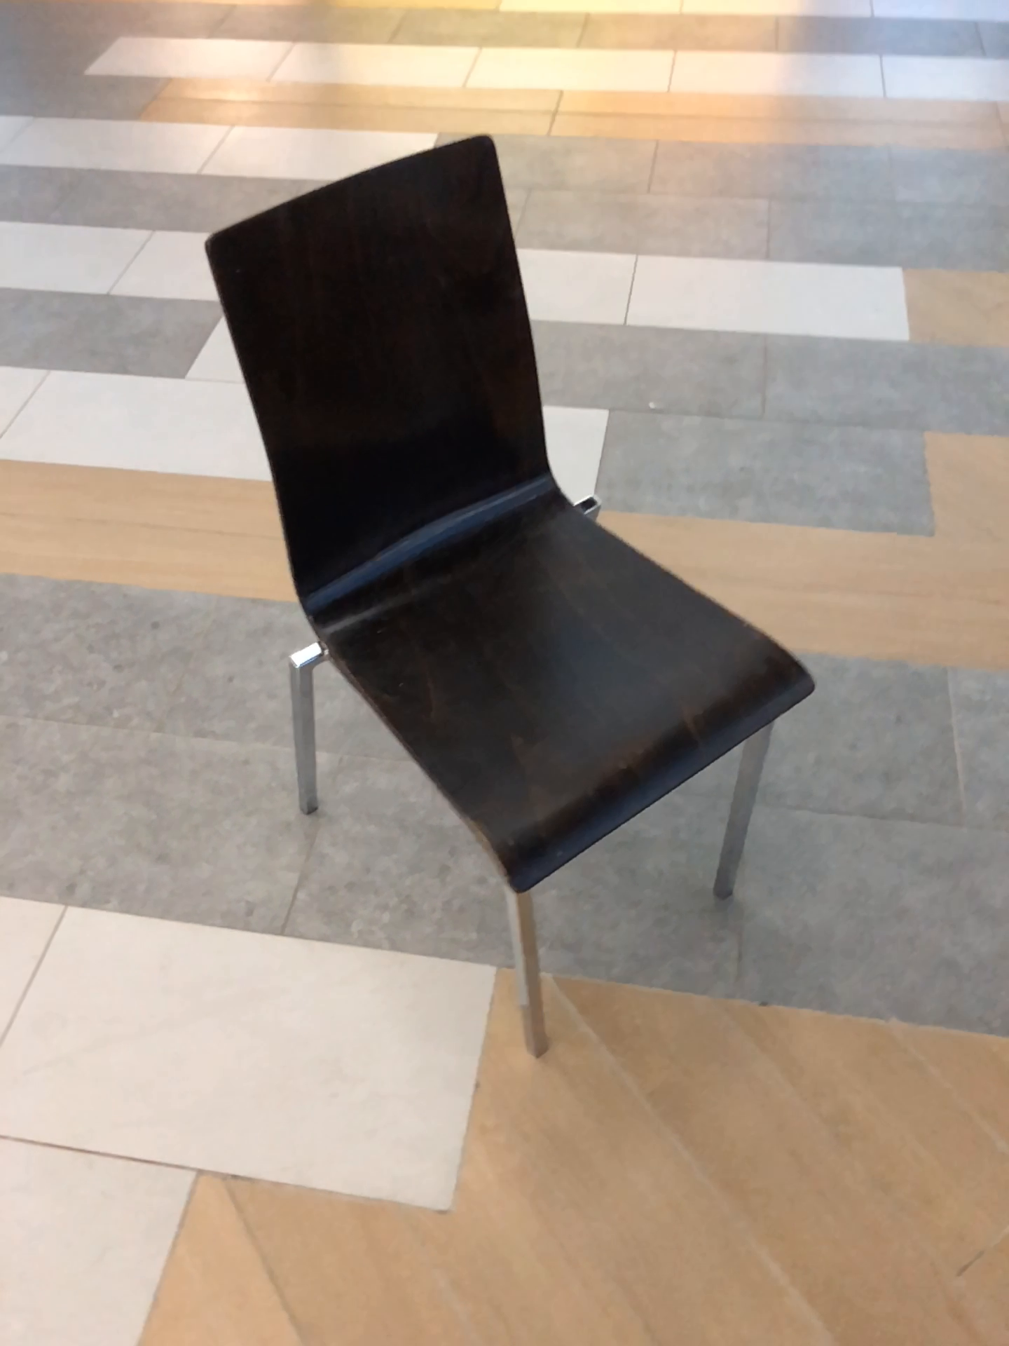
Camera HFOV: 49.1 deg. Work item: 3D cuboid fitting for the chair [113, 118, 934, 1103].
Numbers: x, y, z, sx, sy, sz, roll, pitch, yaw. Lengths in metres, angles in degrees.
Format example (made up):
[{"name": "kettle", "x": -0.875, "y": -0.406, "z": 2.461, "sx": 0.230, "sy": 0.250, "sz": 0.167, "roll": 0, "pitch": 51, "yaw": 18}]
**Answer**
[{"name": "chair", "x": 0.008, "y": -0.030, "z": 1.223, "sx": 0.434, "sy": 0.847, "sz": 0.543, "roll": -31, "pitch": 54, "yaw": -22}]
